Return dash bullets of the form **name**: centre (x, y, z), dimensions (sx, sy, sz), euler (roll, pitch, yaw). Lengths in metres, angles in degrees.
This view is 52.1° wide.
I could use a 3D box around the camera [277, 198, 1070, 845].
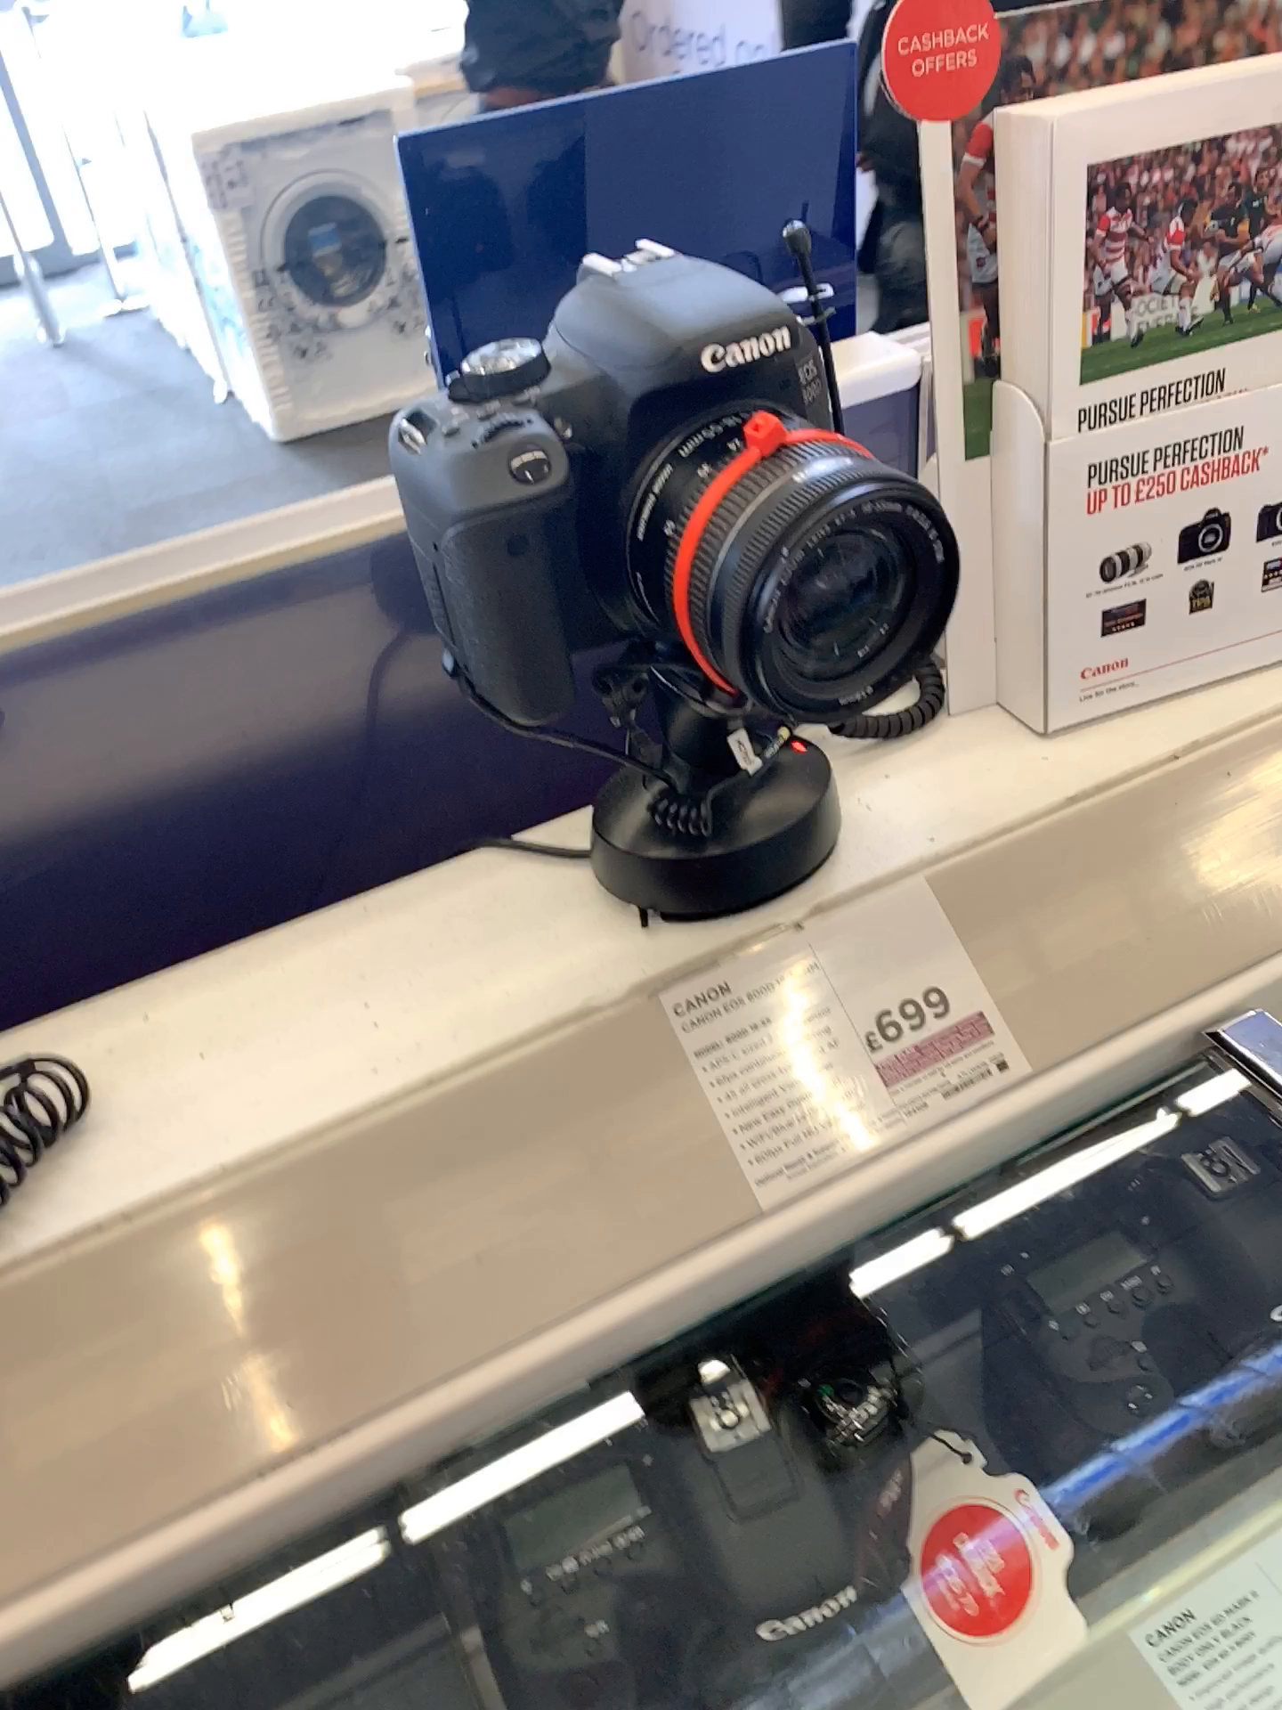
- **camera**: centre (0.006, -0.100, 0.349), dimensions (0.140, 0.089, 0.141), euler (-26, 43, -22)
